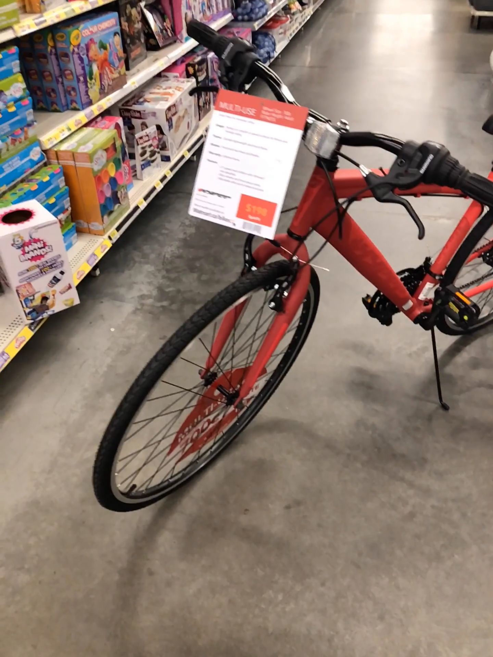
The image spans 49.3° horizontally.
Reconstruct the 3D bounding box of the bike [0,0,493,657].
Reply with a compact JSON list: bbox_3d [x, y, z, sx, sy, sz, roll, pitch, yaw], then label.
[{"bbox_3d":[0.402,-0.134,1.277,1.689,1.000,0.616,-26,45,-25],"label":"bike"}]
